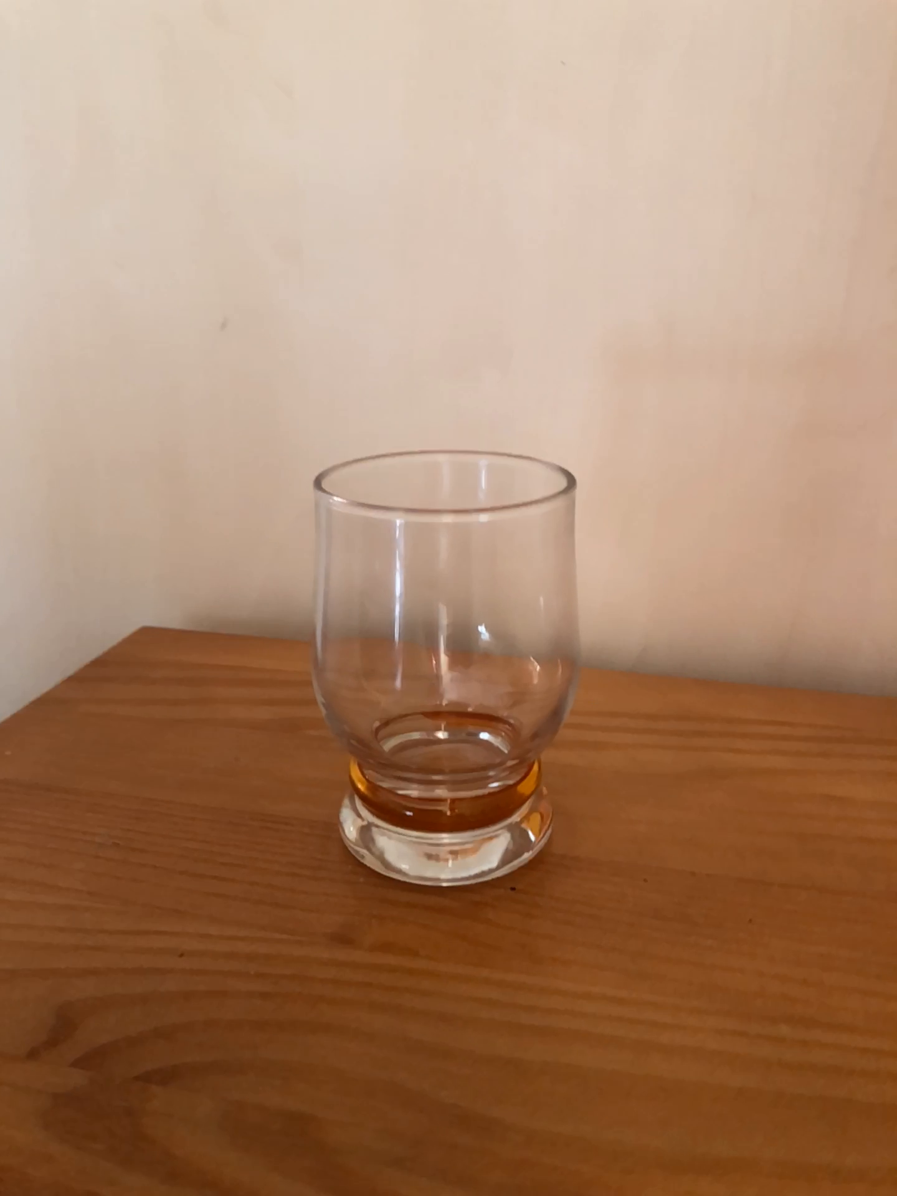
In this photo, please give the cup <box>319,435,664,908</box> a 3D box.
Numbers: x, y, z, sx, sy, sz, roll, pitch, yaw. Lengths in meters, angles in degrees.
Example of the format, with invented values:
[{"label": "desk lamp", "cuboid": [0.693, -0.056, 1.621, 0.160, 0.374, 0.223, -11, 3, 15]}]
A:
[{"label": "cup", "cuboid": [0.005, 0.014, 0.265, 0.073, 0.100, 0.076, 1, 19, 0]}]
